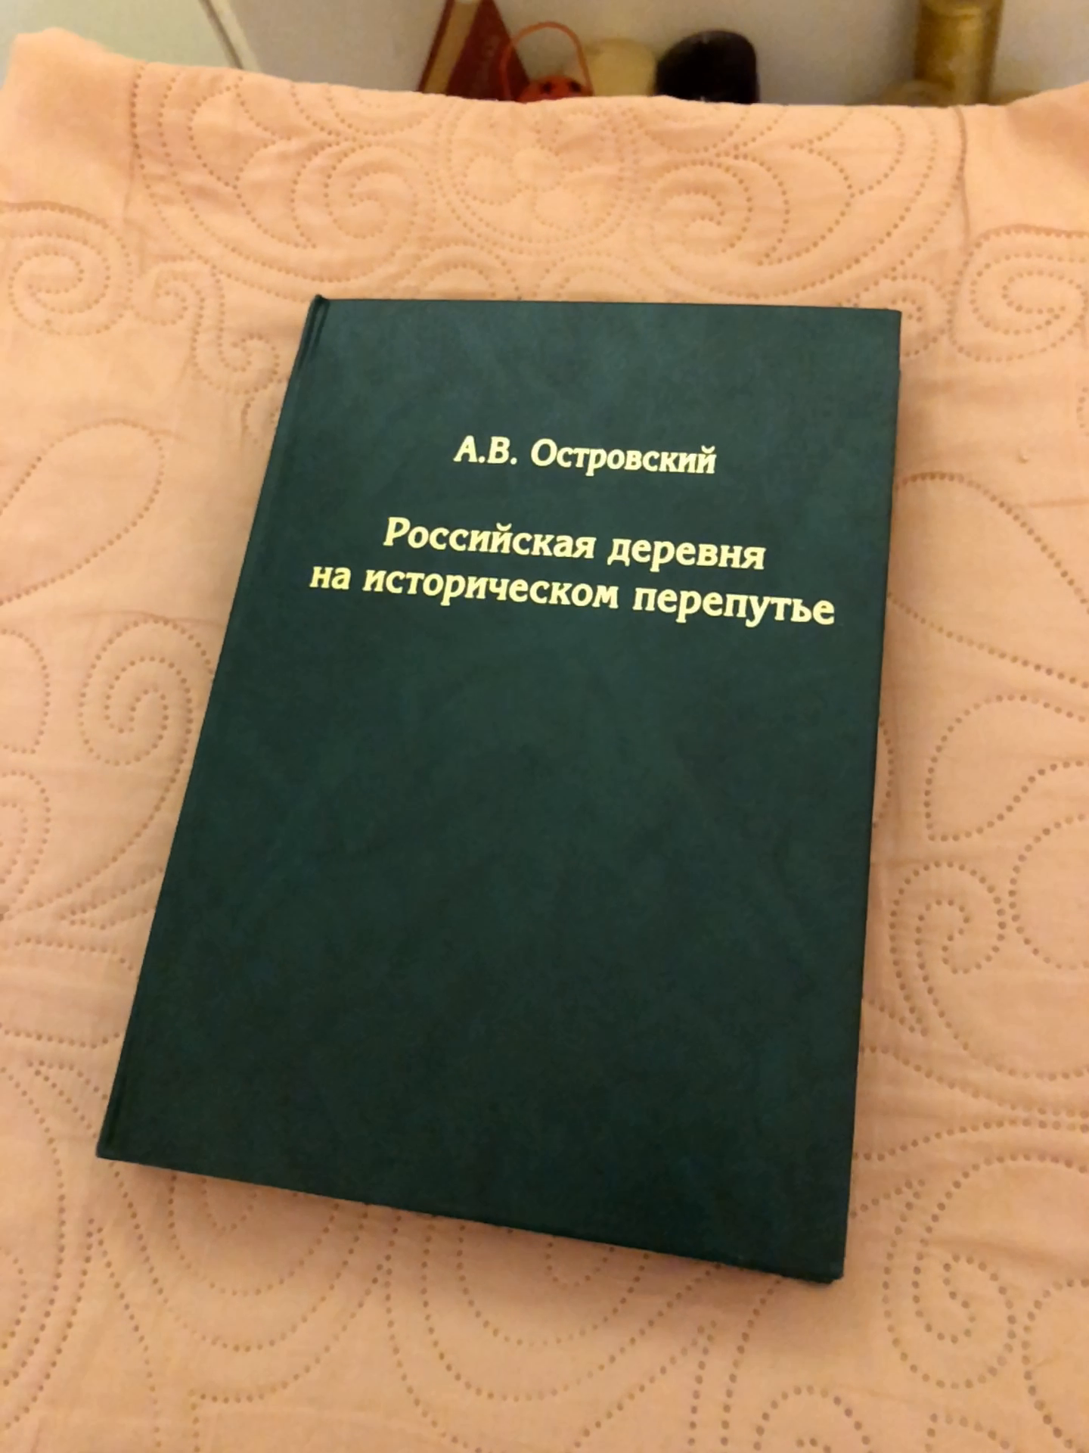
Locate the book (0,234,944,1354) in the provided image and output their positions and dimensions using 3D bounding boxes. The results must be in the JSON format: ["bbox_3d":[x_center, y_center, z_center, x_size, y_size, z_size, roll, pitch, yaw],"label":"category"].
[{"bbox_3d":[-0.007,-0.005,0.285,0.180,0.040,0.241,5,71,12],"label":"book"}]
